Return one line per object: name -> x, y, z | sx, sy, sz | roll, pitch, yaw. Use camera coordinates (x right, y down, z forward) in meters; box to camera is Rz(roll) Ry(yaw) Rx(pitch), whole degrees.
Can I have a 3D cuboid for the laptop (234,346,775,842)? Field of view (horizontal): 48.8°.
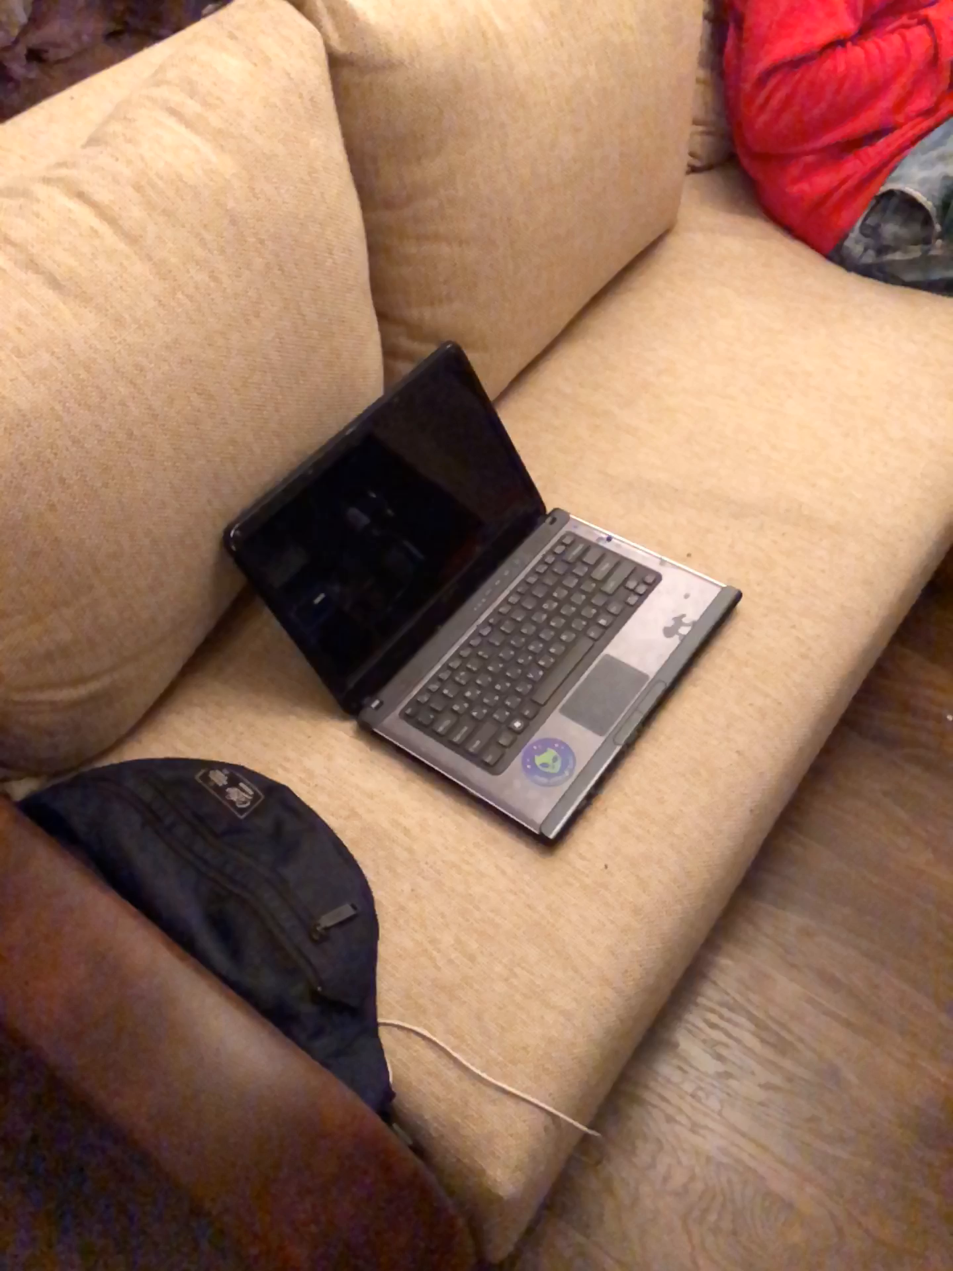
laptop -> 0.028, -0.059, 1.000 | 0.350, 0.174, 0.339 | 28, 58, 23
